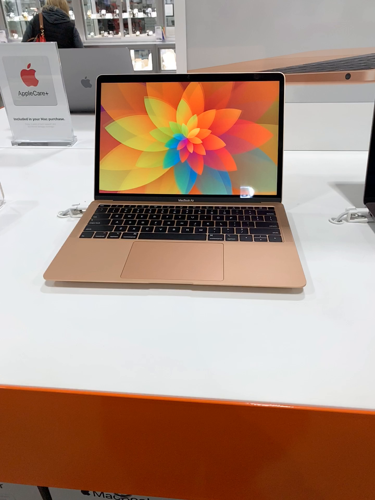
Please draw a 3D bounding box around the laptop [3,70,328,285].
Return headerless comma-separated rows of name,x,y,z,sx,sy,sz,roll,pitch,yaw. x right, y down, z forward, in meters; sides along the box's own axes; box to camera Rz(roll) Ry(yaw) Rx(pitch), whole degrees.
laptop,-0.010,-0.123,0.518,0.293,0.170,0.311,1,33,4
